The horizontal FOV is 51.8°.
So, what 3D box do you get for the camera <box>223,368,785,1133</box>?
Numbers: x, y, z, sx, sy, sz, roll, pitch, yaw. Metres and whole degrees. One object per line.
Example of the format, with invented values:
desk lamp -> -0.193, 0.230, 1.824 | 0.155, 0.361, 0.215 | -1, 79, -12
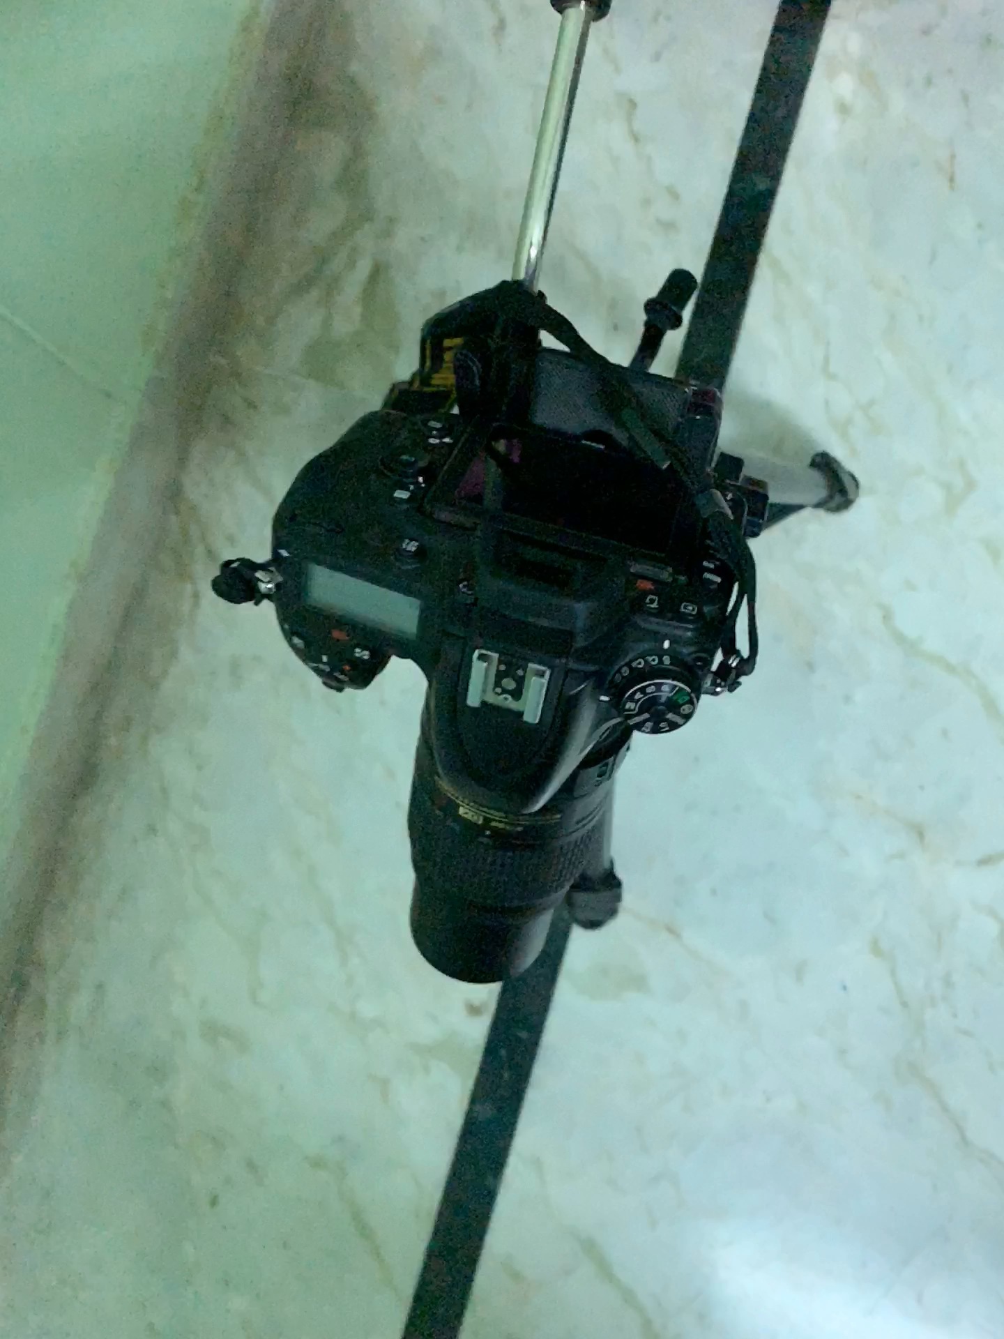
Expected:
camera -> -0.006, 0.036, 0.355 | 0.130, 0.214, 0.116 | 17, 42, 6
